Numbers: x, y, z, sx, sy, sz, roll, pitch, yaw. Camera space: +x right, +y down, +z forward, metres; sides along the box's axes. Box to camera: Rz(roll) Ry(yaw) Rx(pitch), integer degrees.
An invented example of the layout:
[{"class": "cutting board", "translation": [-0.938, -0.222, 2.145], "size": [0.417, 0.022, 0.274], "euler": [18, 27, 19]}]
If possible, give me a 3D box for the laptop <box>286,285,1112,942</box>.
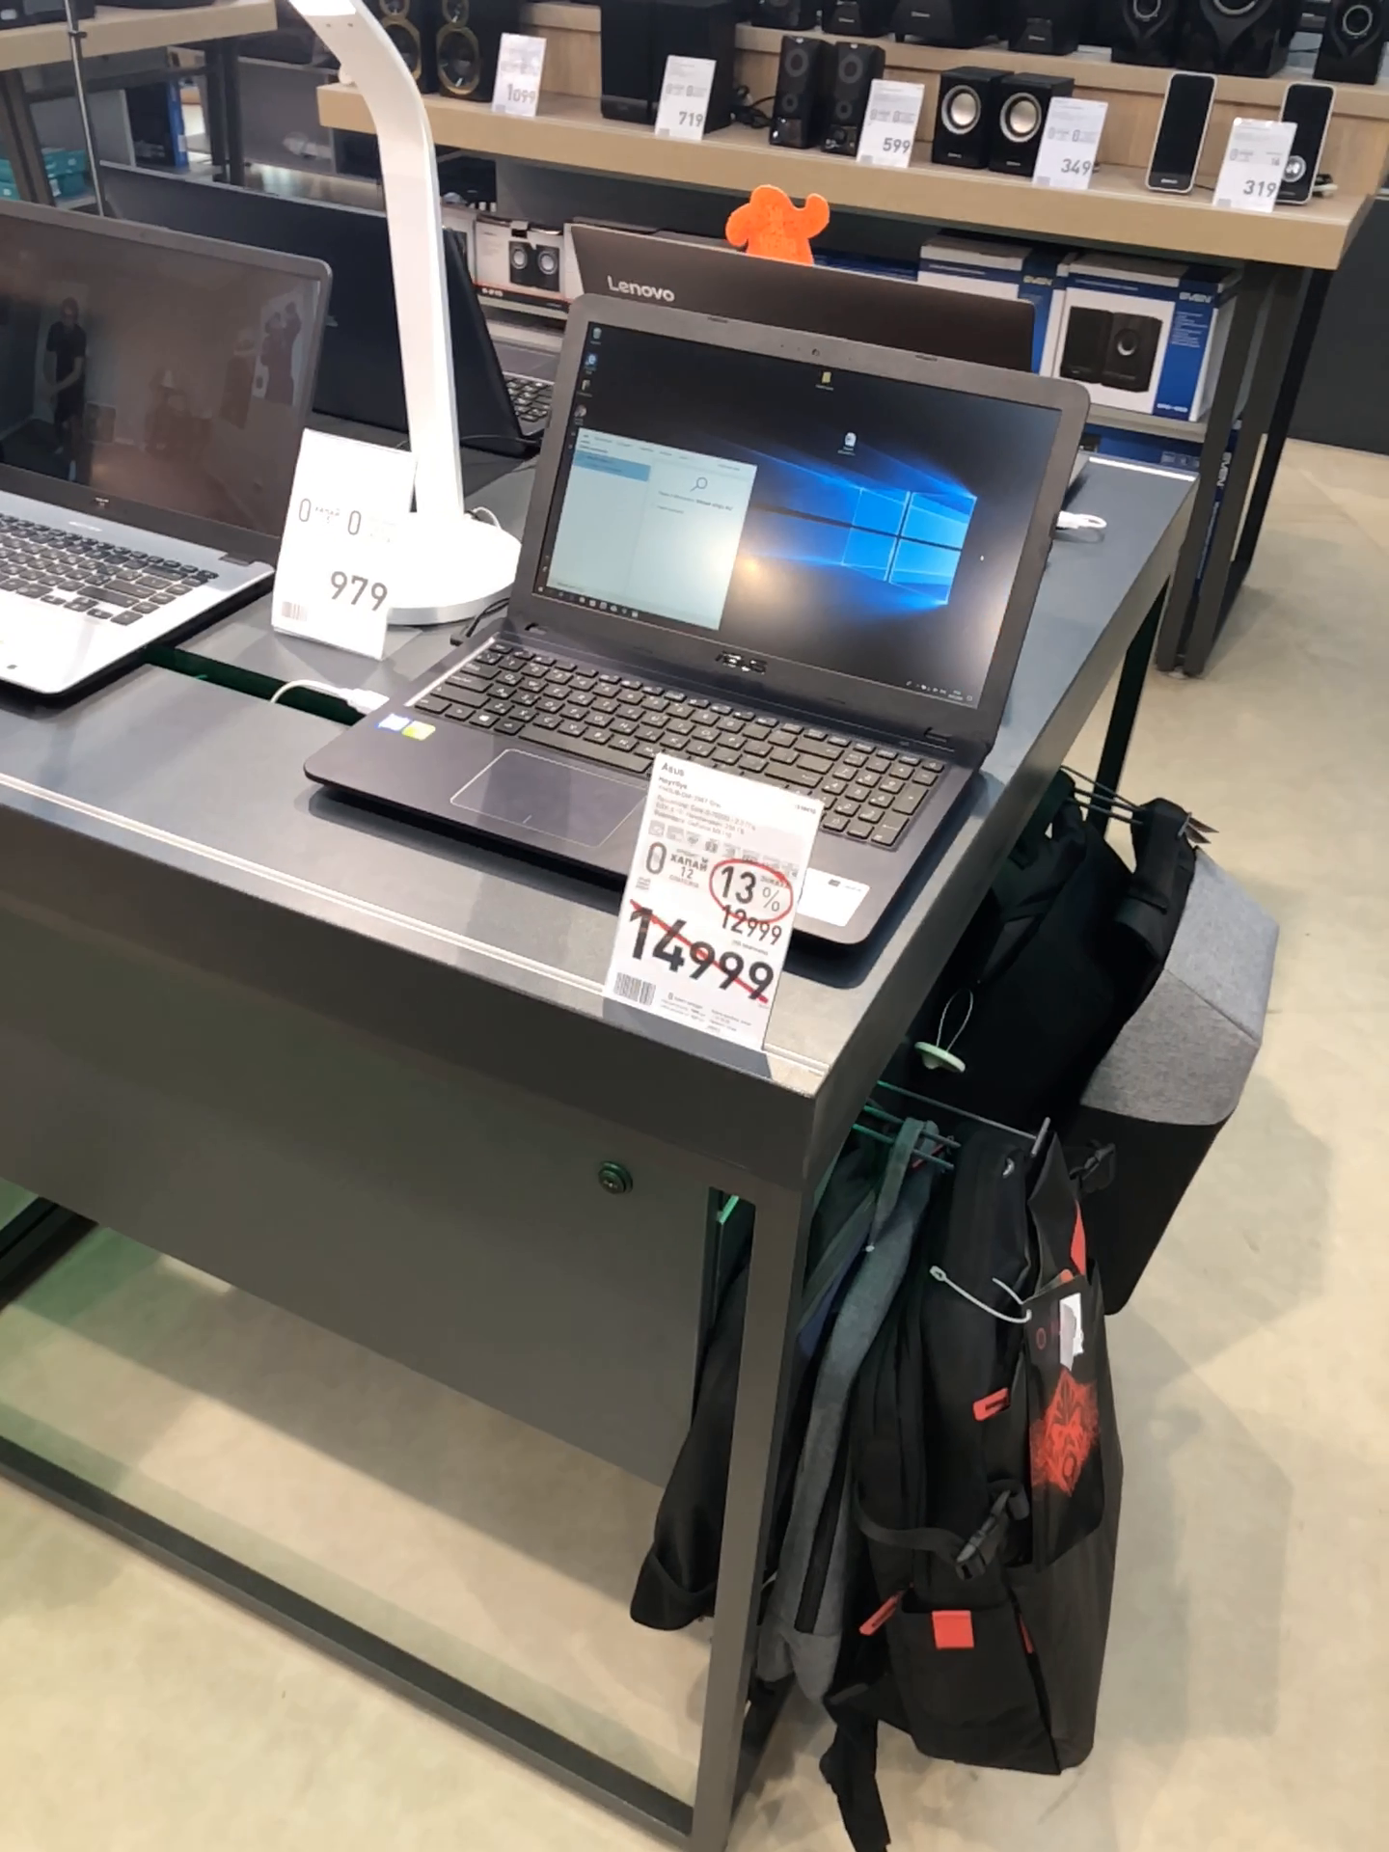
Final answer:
[{"class": "laptop", "translation": [0.016, -0.231, 0.983], "size": [0.380, 0.209, 0.371], "euler": [18, 40, 19]}]
